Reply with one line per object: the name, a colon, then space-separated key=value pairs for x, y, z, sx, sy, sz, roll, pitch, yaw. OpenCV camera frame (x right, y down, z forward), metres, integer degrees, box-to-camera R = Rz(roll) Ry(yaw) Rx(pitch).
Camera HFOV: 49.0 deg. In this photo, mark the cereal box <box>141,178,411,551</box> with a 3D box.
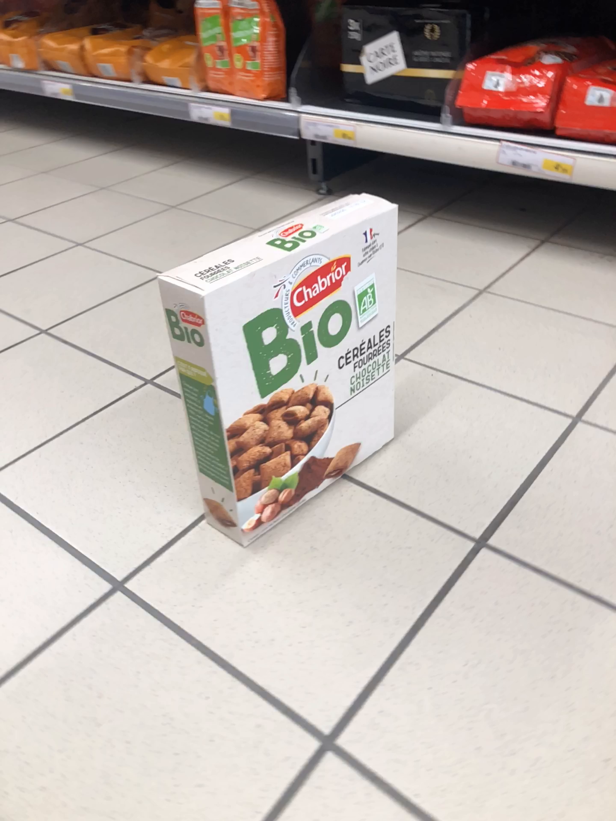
cereal box: x=-0.008 y=-0.041 z=0.559 sx=0.211 sy=0.239 sz=0.060 roll=-31 pitch=43 yaw=-33
